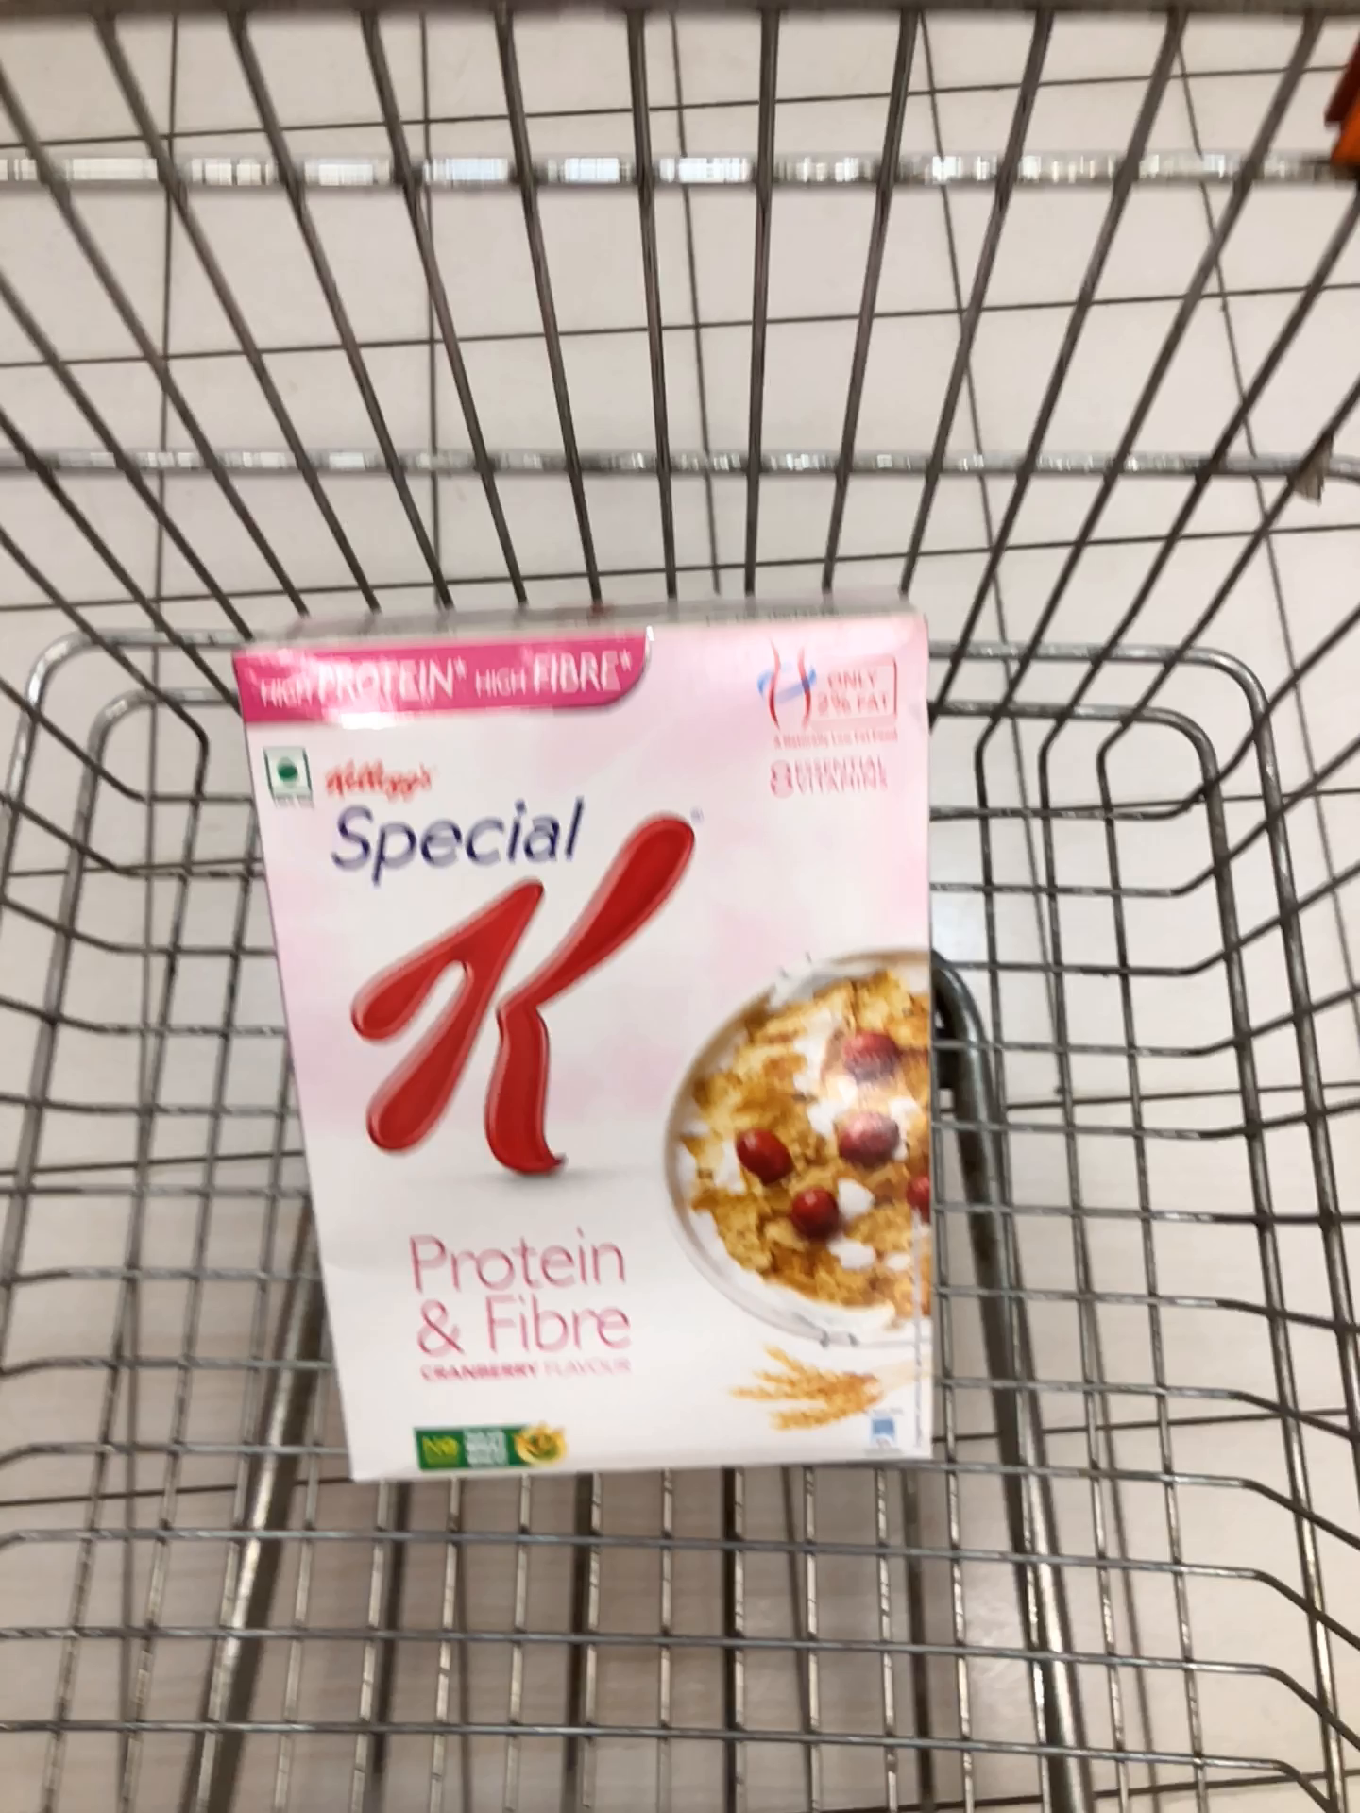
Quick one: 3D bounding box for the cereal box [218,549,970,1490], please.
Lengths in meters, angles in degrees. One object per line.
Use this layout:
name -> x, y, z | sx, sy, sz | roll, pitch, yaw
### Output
cereal box -> -0.017, 0.036, 0.475 | 0.190, 0.100, 0.270 | -2, 110, 0
